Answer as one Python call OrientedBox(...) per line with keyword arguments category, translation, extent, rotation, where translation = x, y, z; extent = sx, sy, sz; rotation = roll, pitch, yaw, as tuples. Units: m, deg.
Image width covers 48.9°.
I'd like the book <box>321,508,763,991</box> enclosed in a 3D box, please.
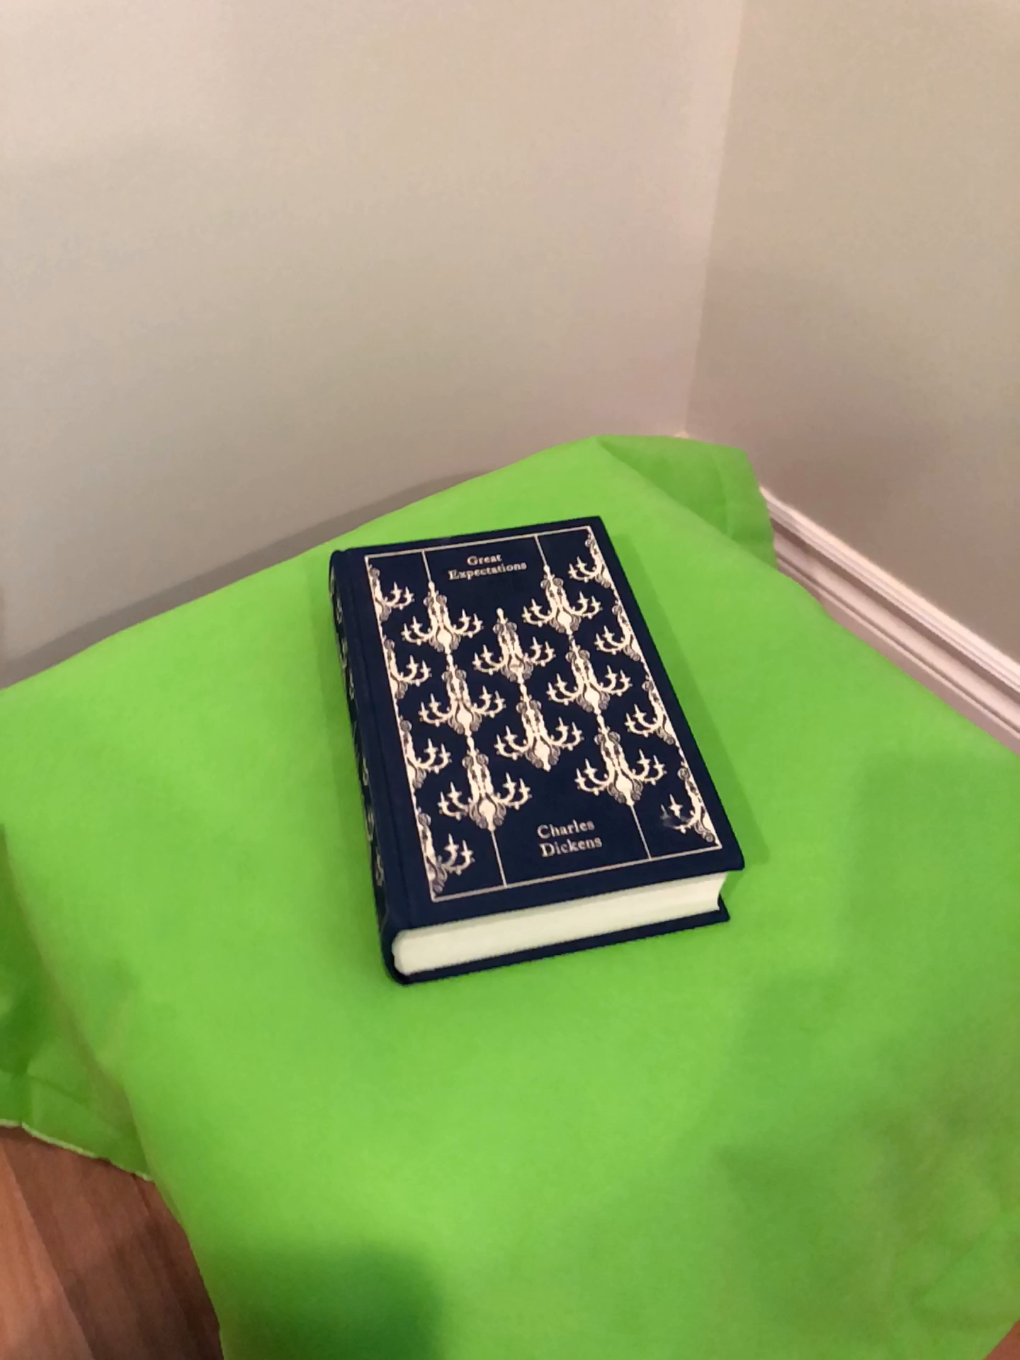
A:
OrientedBox(category="book", translation=(0.002, 0.016, 0.485), extent=(0.140, 0.040, 0.211), rotation=(-9, 48, -9))
